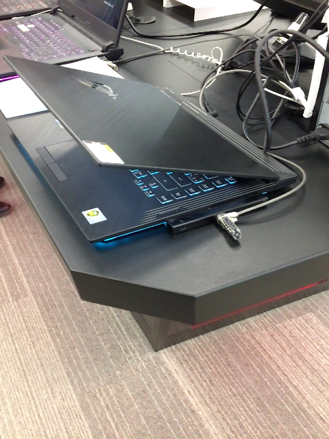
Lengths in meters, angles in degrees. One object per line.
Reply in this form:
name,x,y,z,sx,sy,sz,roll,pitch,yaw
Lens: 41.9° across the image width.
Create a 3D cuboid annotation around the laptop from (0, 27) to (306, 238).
laptop,-0.050,-0.154,0.643,0.292,0.120,0.341,-22,48,-18
